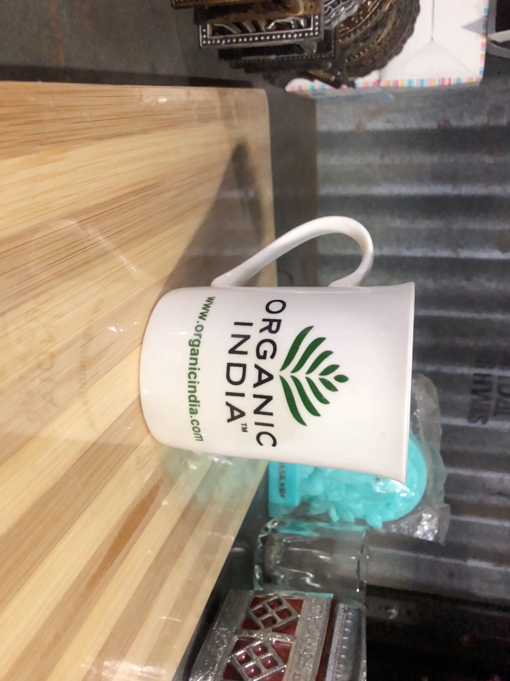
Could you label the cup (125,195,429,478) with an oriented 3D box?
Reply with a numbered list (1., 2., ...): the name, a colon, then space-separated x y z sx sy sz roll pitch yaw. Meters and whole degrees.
1. cup: 0.015 -0.002 0.248 0.070 0.109 0.100 18 76 -75
